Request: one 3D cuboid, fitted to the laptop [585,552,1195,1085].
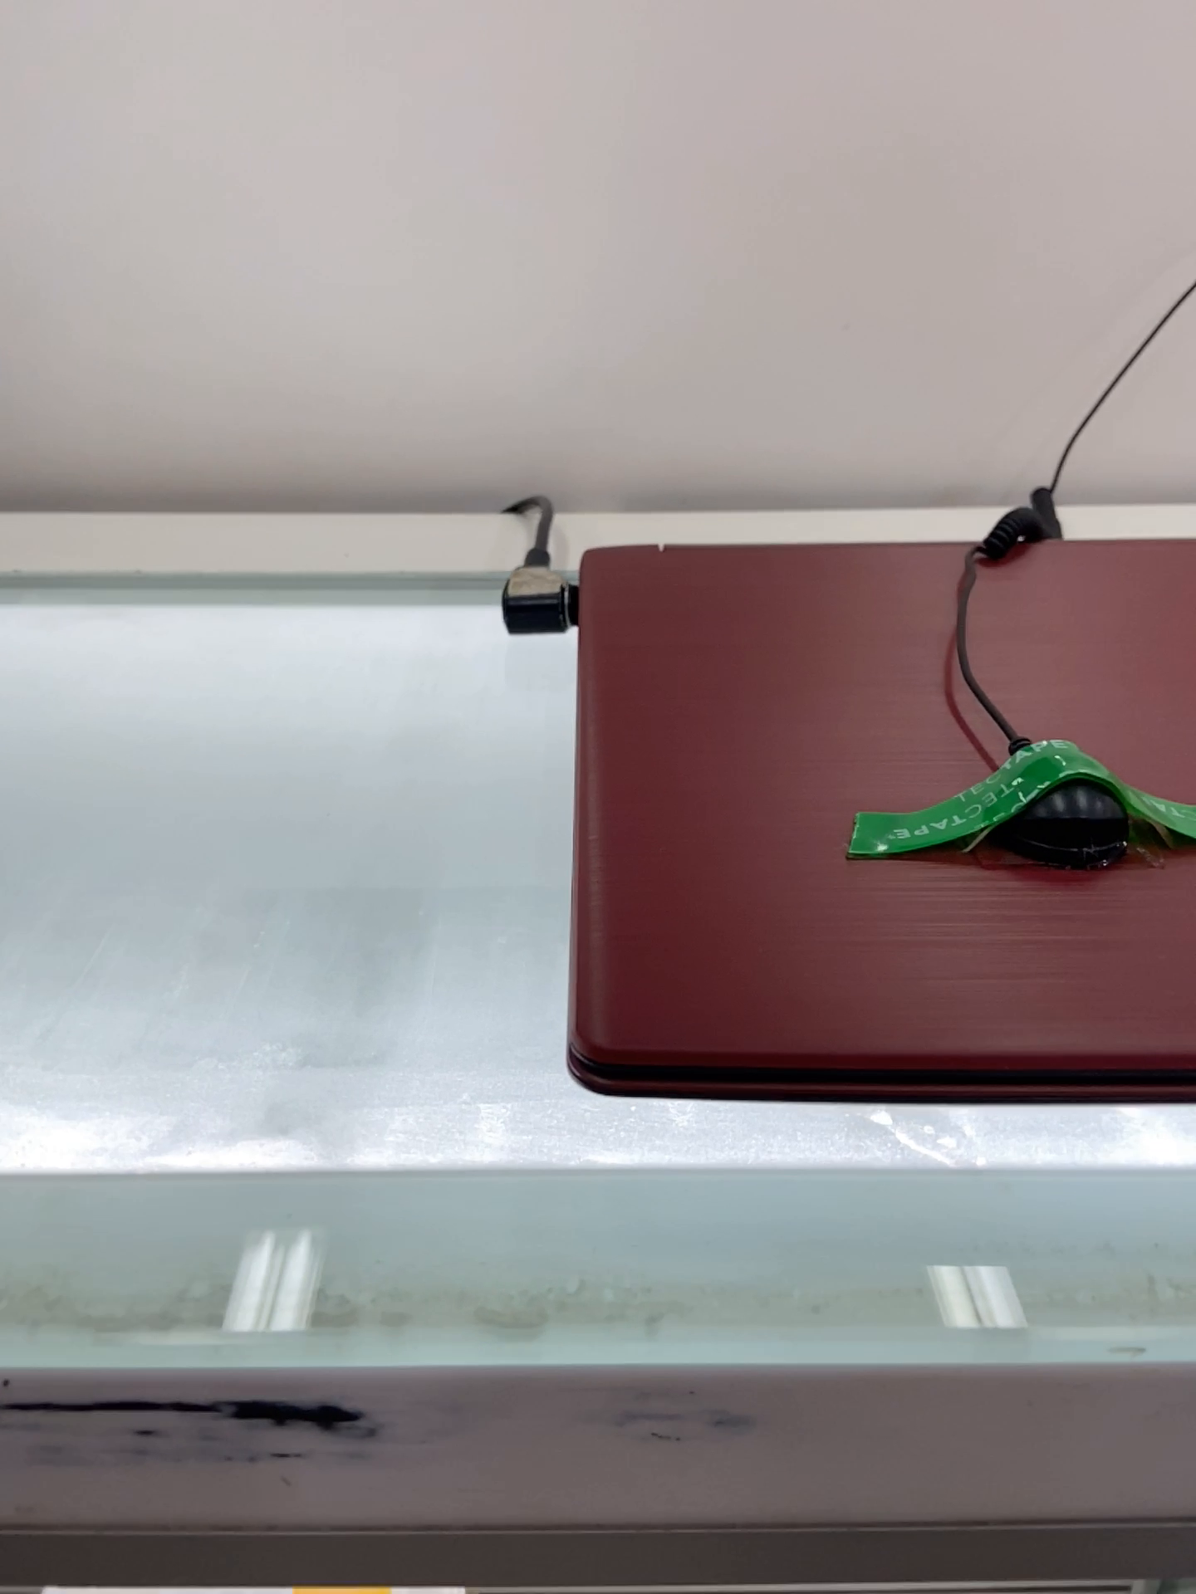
[{"bbox_3d":[0.182,-0.020,0.303,0.367,0.006,0.263,0,27,0],"label":"laptop"}]
